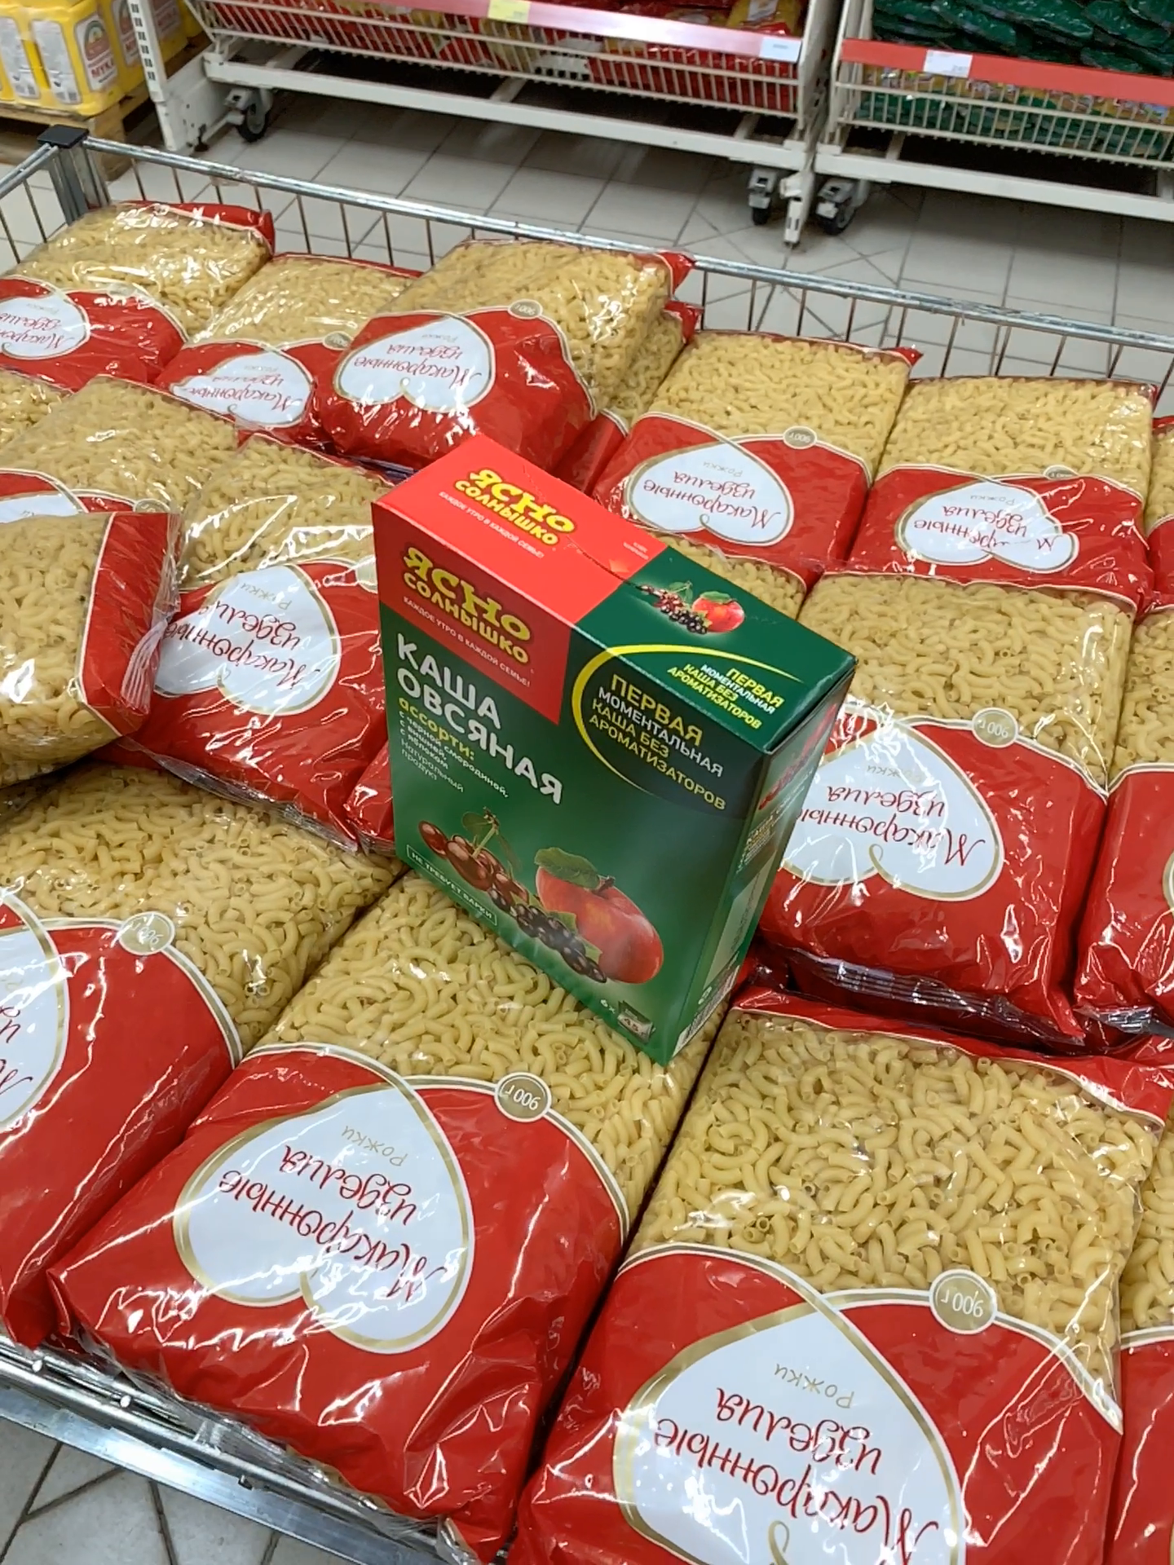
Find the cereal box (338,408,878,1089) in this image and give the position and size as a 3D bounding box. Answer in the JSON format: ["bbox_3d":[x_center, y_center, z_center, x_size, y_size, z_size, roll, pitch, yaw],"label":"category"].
[{"bbox_3d":[-0.006,-0.003,0.435,0.160,0.199,0.060,36,56,20],"label":"cereal box"}]
